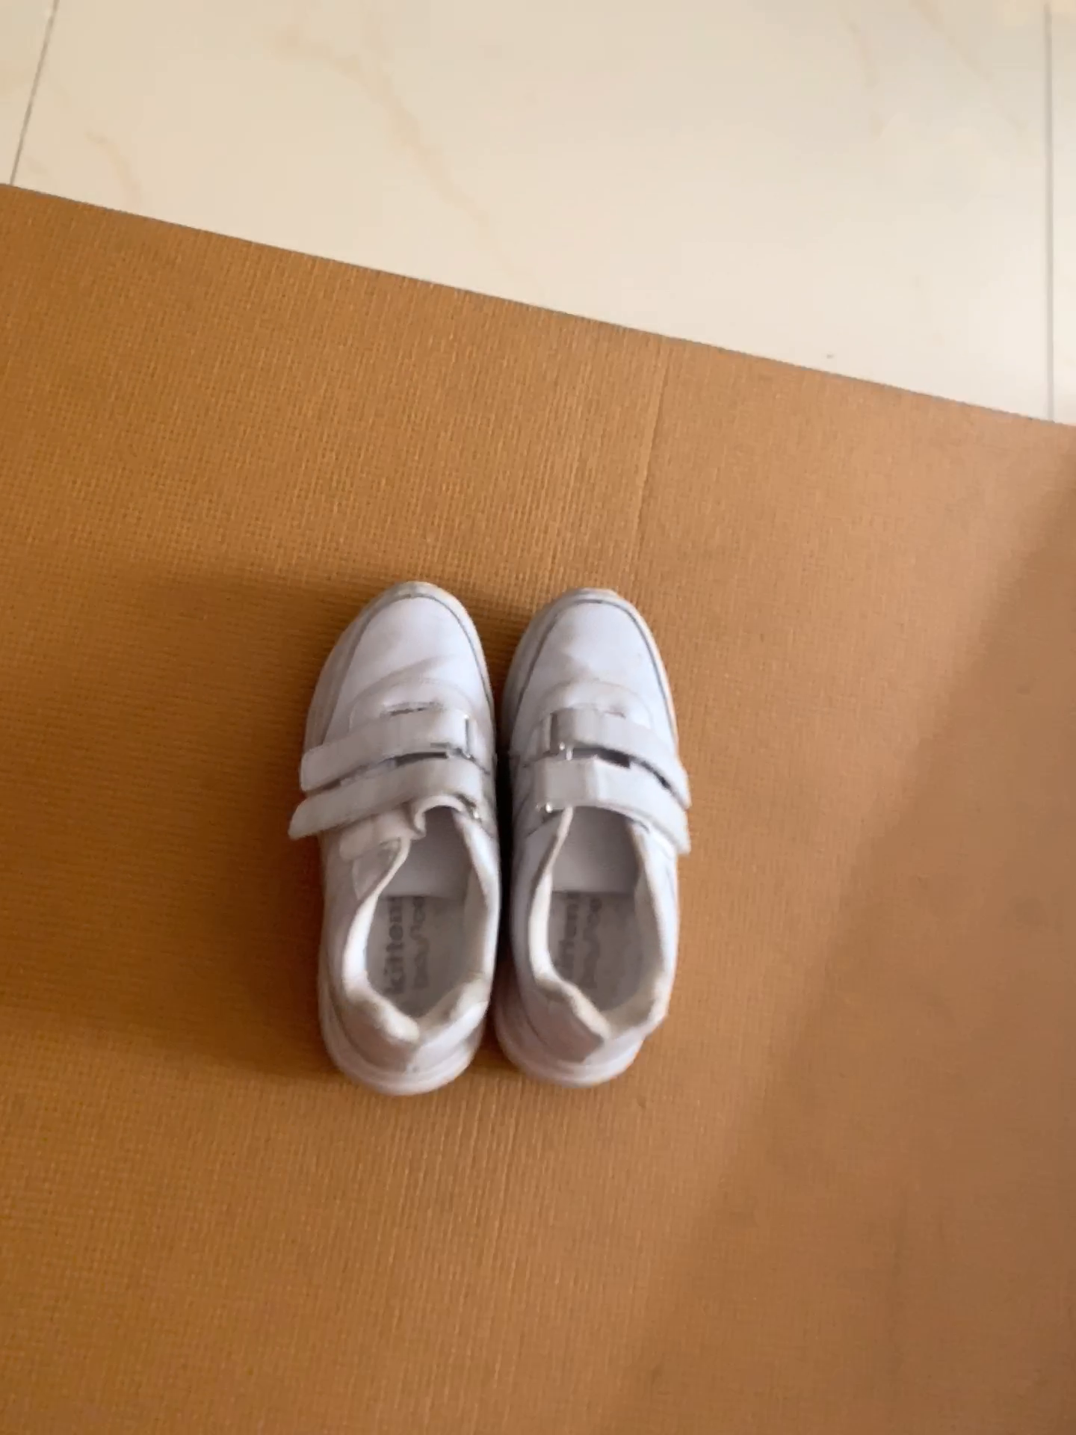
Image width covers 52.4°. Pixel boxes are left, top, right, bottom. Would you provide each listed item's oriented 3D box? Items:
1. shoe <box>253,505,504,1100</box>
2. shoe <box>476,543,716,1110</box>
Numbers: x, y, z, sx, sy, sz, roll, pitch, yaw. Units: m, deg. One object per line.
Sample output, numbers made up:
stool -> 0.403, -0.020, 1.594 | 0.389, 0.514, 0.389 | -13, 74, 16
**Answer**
shoe -> -0.069, 0.037, 0.498 | 0.090, 0.070, 0.250 | 3, 77, -7
shoe -> 0.025, 0.052, 0.518 | 0.090, 0.100, 0.240 | 3, 77, -7
